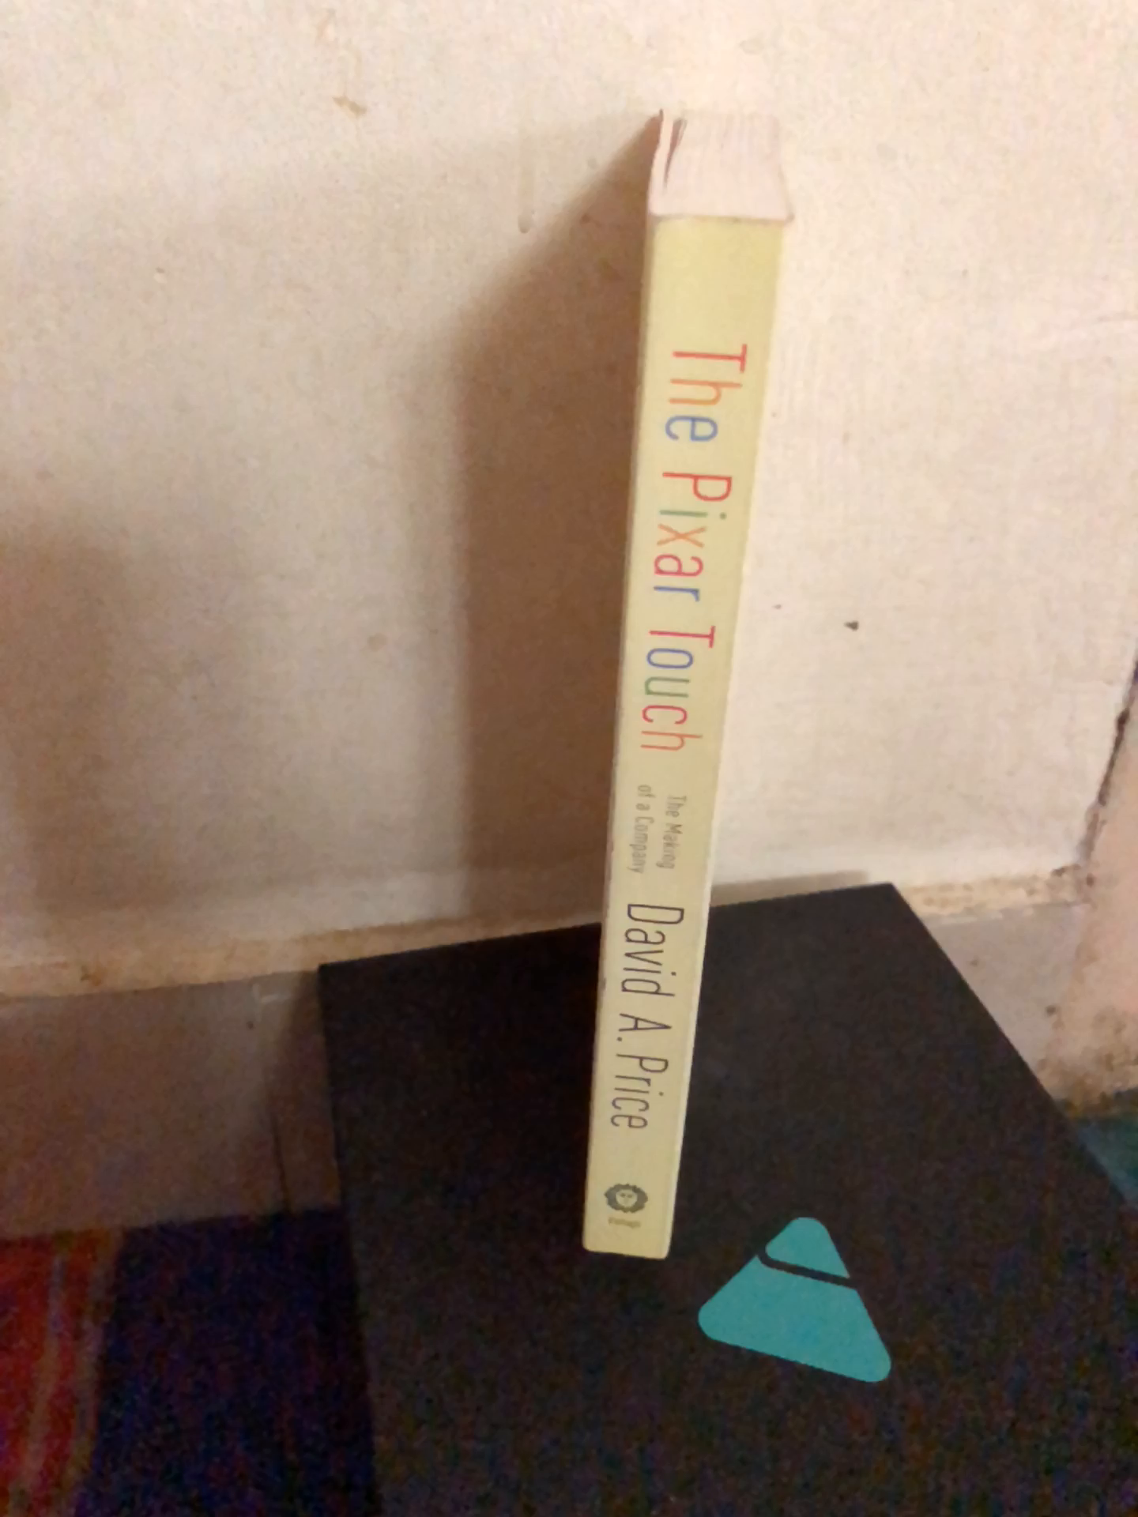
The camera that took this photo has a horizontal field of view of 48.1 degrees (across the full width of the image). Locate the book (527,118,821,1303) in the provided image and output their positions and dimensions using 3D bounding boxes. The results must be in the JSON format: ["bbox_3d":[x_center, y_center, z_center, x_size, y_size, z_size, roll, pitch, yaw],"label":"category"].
[{"bbox_3d":[0.017,-0.015,0.263,0.030,0.199,0.141,5,31,3],"label":"book"}]
